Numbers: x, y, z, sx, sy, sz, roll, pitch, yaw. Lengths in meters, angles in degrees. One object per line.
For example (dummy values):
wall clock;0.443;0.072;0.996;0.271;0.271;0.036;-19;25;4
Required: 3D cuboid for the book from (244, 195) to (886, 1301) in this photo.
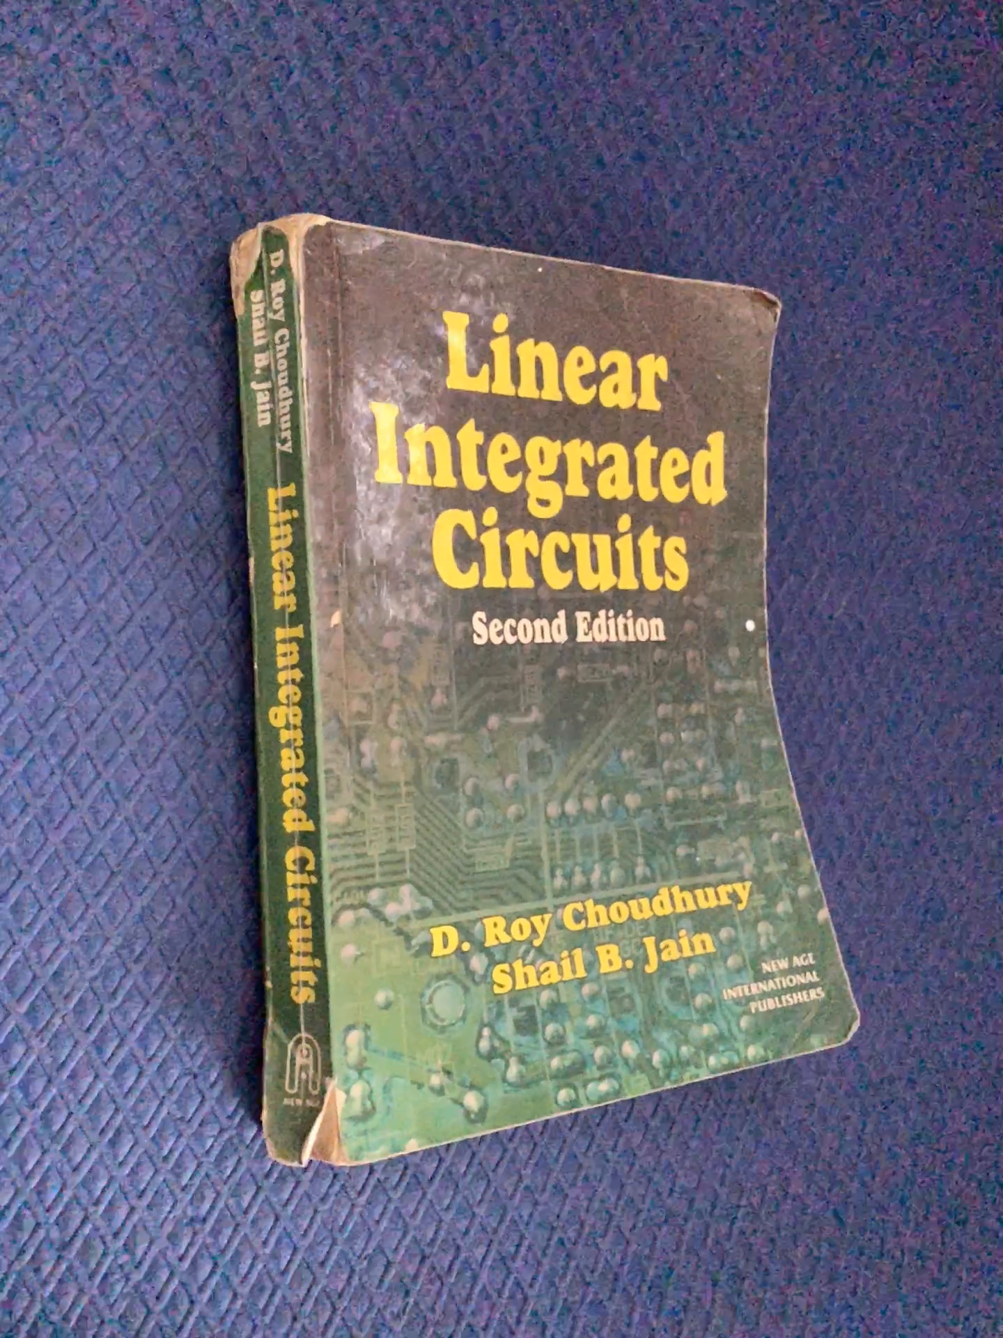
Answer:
book;0.026;0.015;0.319;0.191;0.040;0.270;-1;86;-29
